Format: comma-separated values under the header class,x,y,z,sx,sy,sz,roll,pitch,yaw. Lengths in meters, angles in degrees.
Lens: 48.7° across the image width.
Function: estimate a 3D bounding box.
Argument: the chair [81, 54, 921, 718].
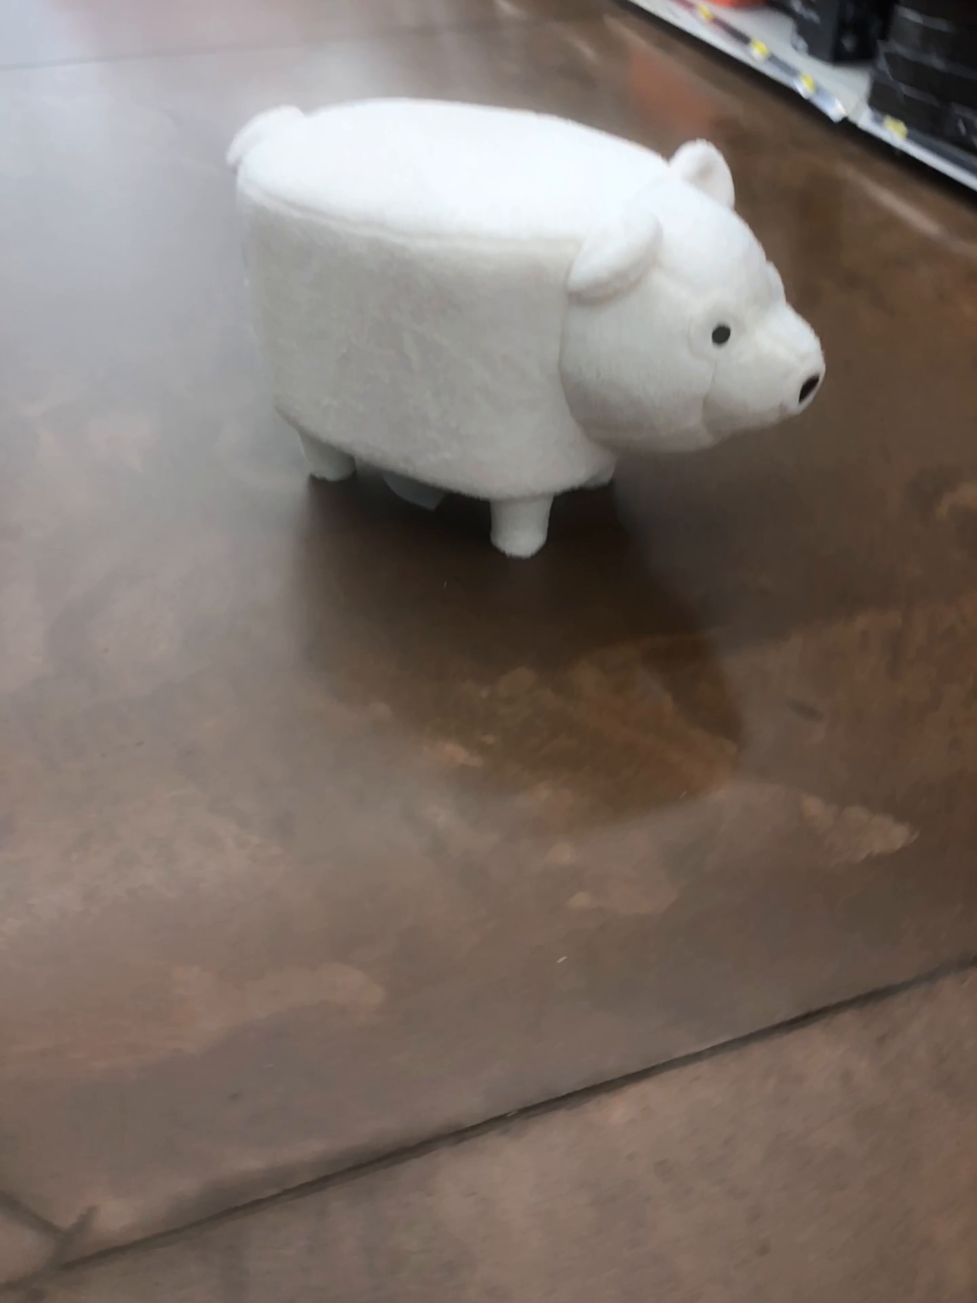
class,x,y,z,sx,sy,sz,roll,pitch,yaw
chair,0.004,-0.319,1.101,0.631,0.348,0.441,28,50,28
